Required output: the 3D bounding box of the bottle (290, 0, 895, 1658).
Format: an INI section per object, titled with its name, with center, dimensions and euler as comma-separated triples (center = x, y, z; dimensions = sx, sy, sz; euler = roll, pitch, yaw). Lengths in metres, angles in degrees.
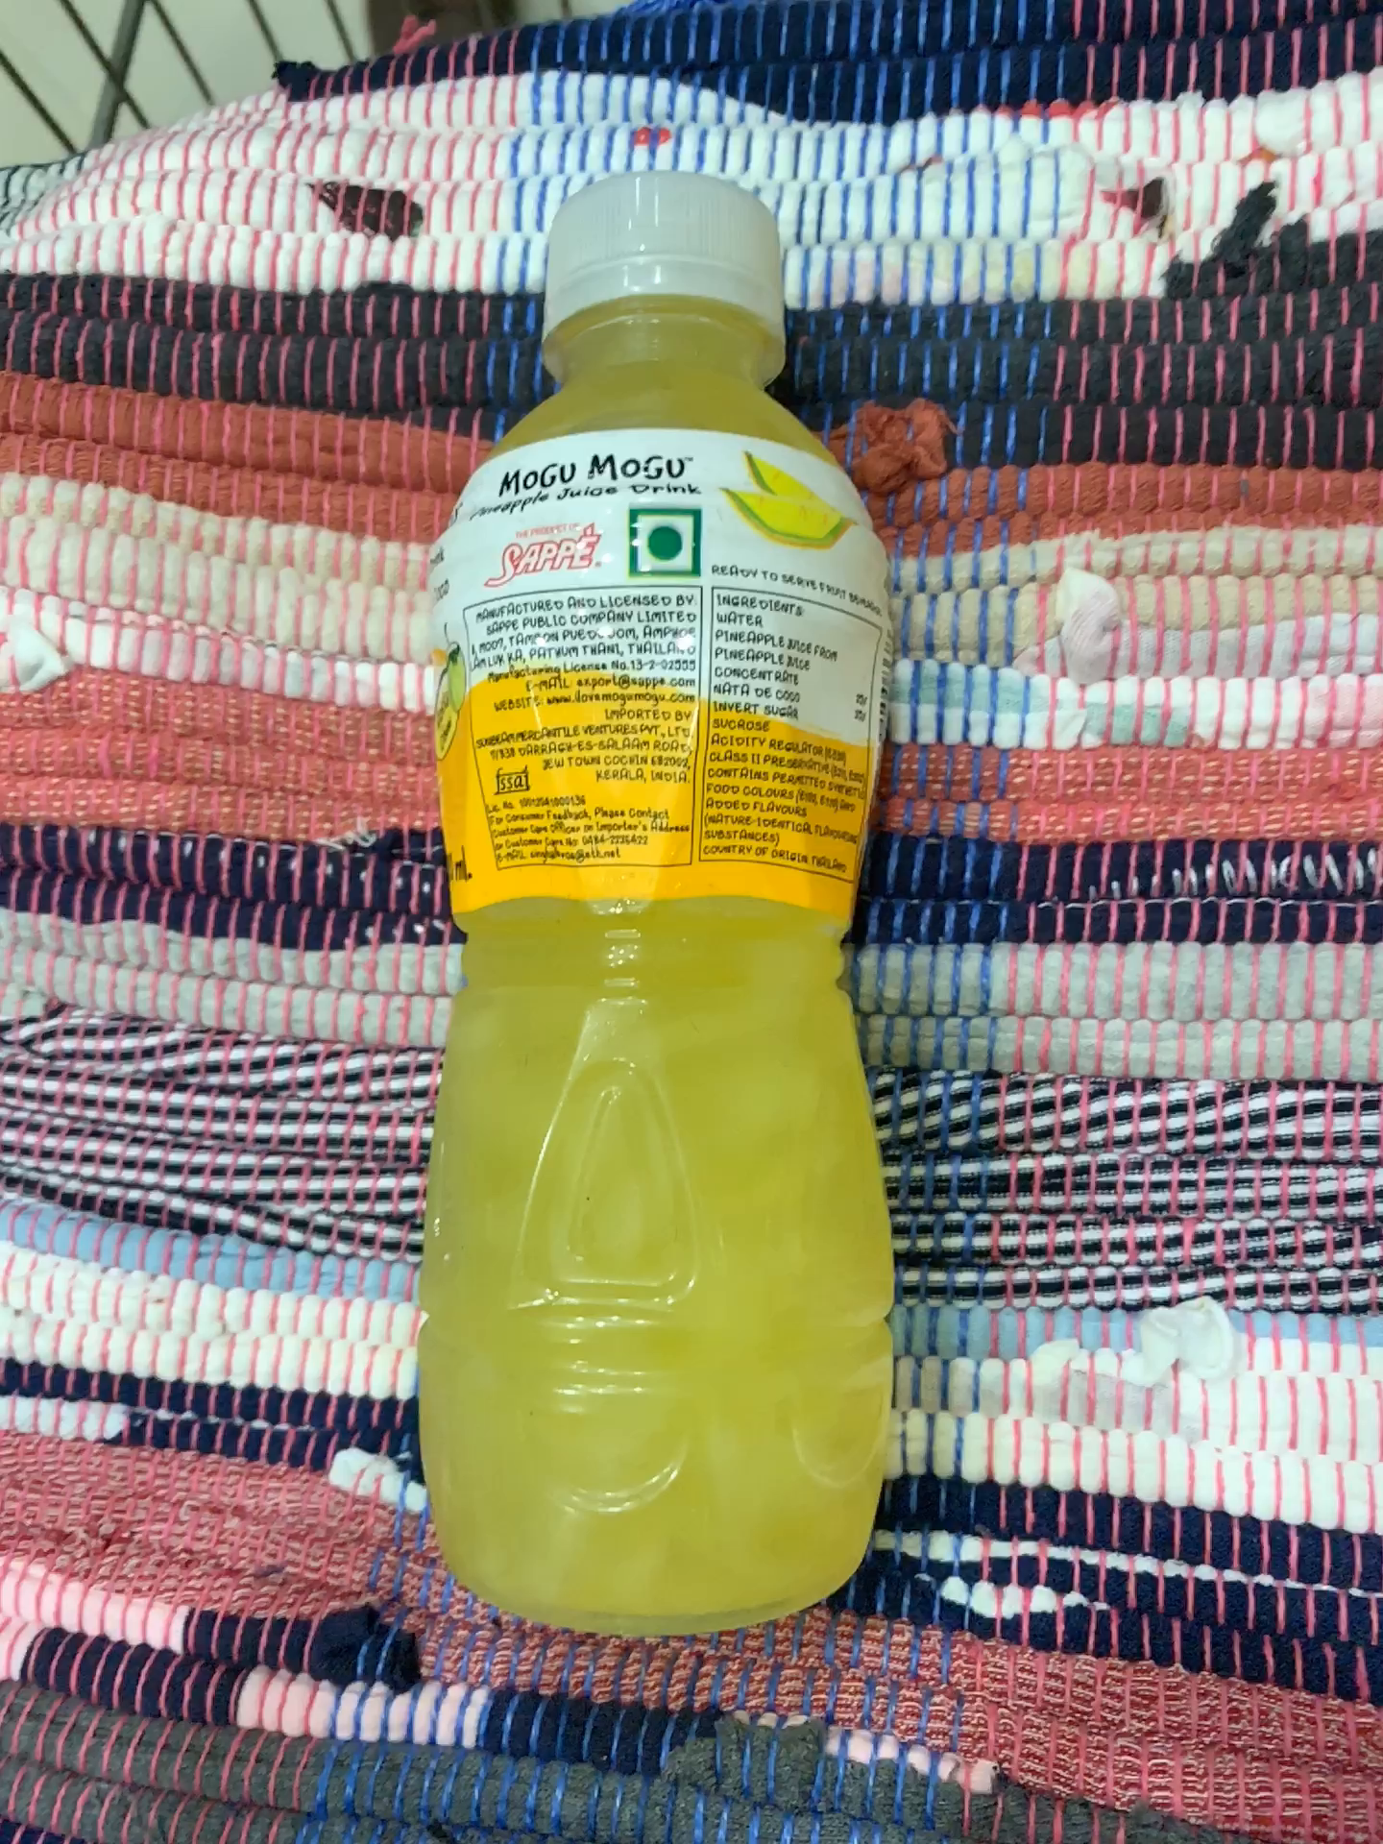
[bottle]
center = -0.006, -0.019, 0.182
dimensions = 0.060, 0.050, 0.190
euler = 0, 81, 10
